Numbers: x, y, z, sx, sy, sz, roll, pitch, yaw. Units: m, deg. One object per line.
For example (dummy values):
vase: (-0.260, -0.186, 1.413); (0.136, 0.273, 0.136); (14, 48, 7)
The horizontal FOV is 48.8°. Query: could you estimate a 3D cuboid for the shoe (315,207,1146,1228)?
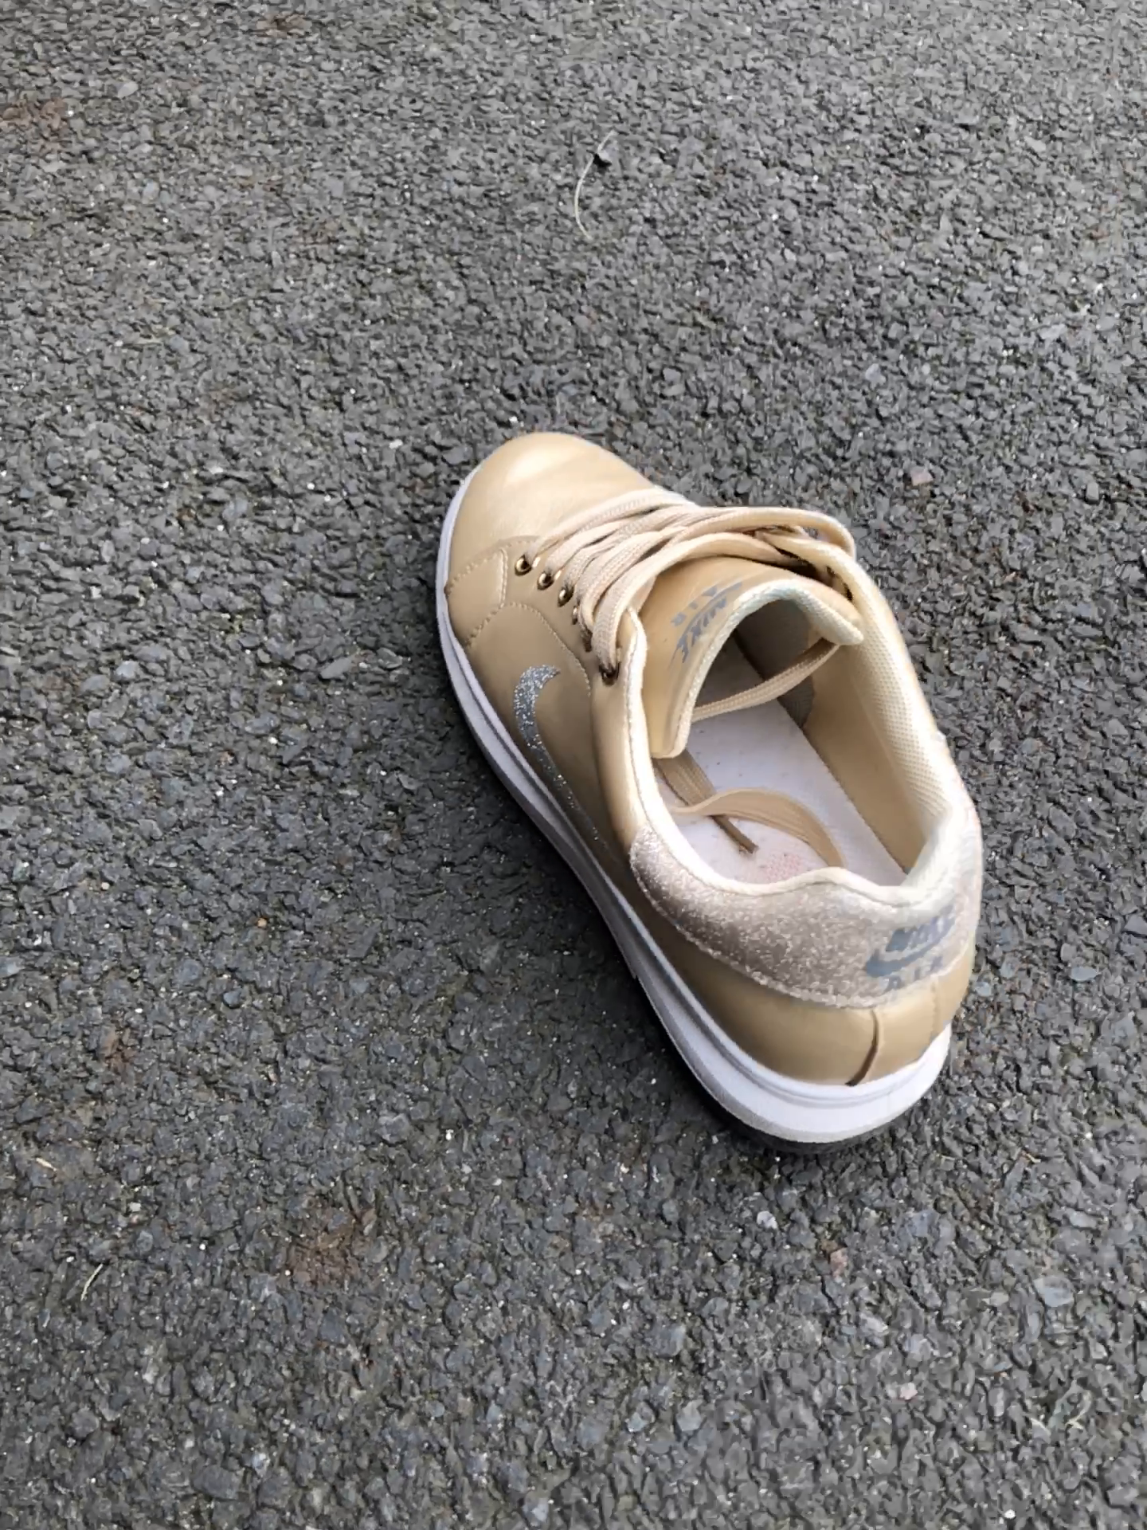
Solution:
shoe: (0.035, -0.027, 0.362); (0.117, 0.100, 0.261); (-23, 61, -14)
